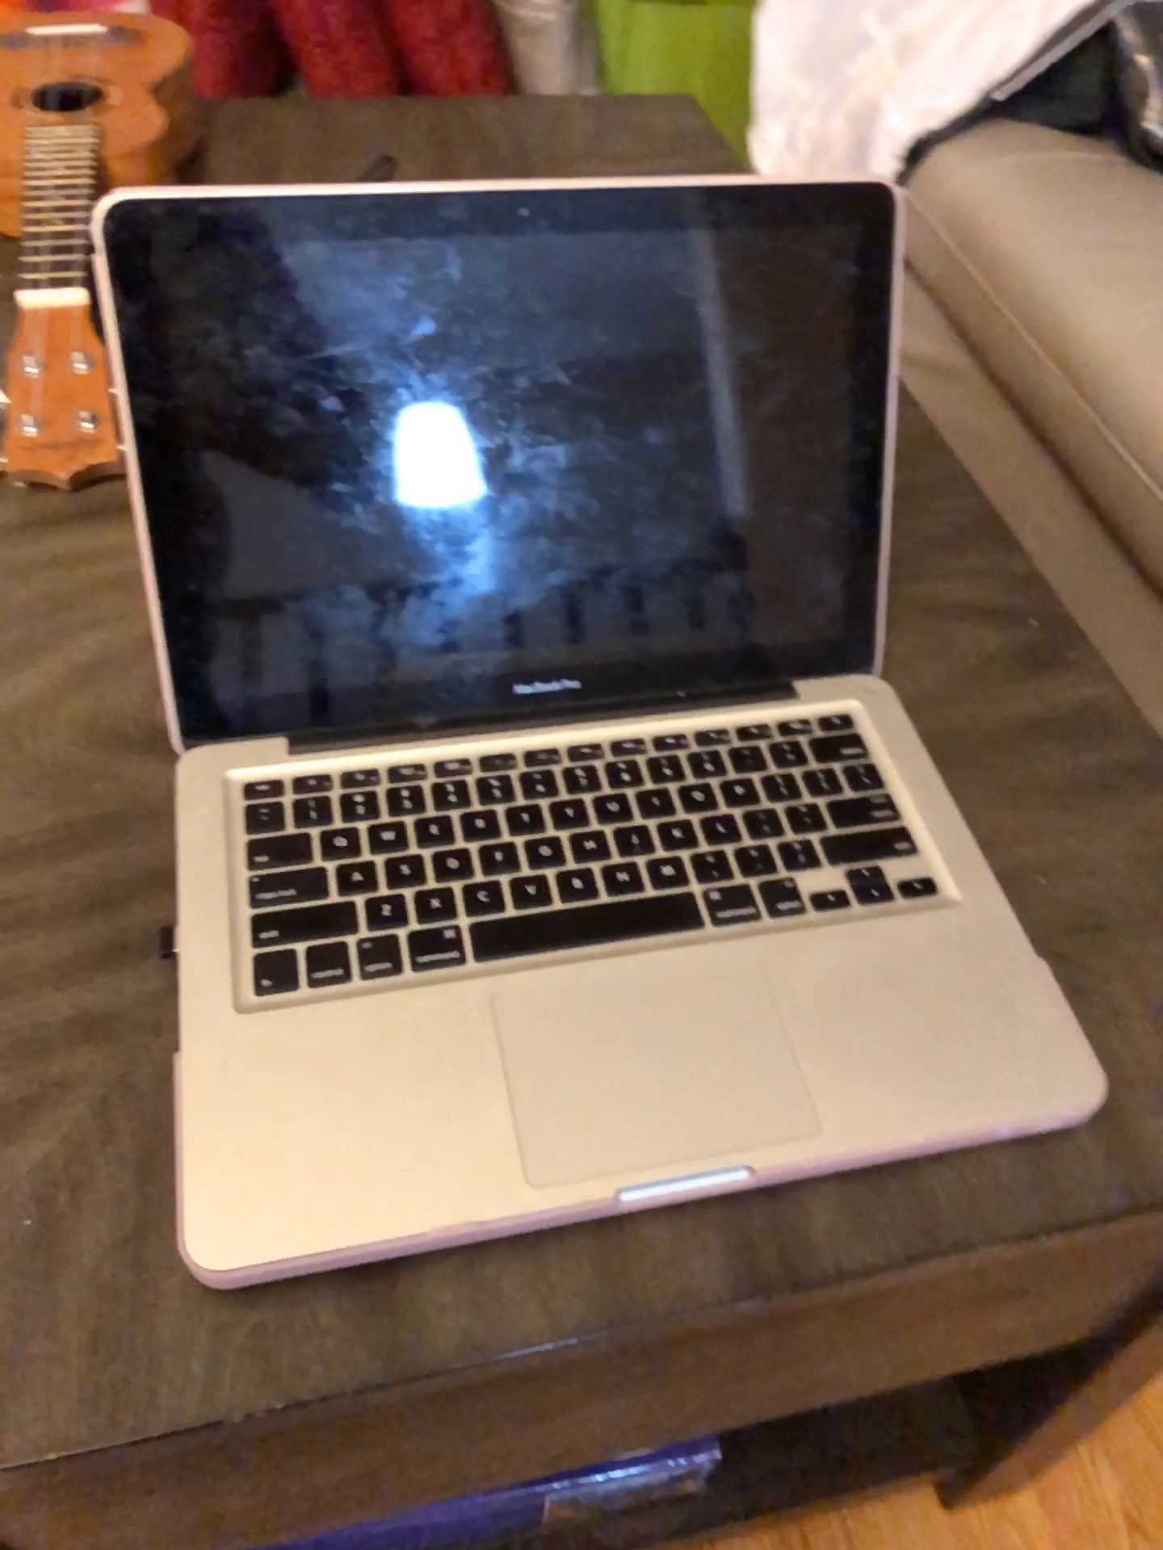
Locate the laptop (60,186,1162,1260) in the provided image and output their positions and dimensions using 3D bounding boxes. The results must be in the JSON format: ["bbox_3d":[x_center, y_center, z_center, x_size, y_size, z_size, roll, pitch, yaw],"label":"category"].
[{"bbox_3d":[0.002,-0.047,0.468,0.312,0.185,0.323,-7,49,-11],"label":"laptop"}]
